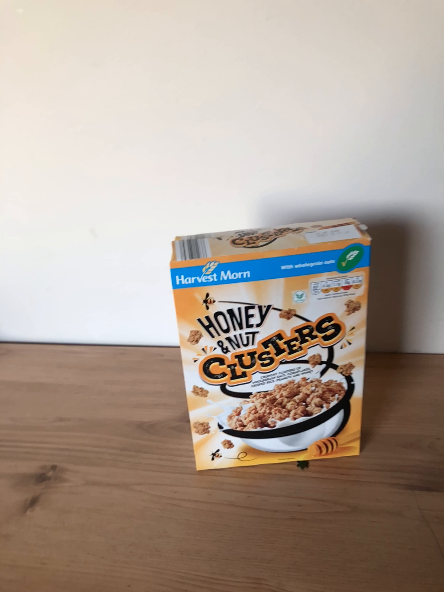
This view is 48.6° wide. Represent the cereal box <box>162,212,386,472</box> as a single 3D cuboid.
[{"bbox_3d":[0.052,0.054,0.502,0.190,0.248,0.070,-6,28,-1],"label":"cereal box"}]
